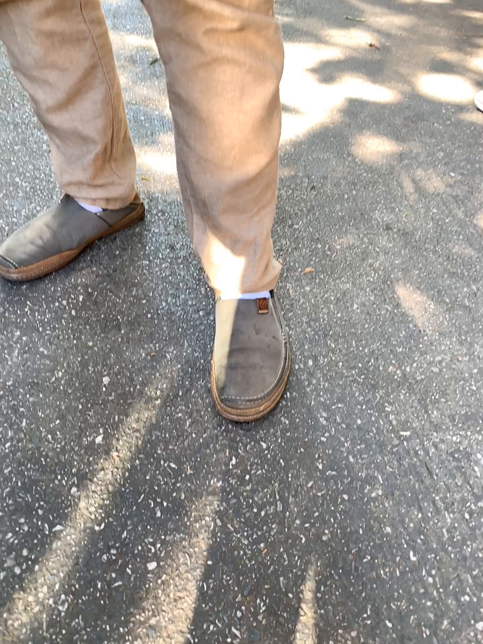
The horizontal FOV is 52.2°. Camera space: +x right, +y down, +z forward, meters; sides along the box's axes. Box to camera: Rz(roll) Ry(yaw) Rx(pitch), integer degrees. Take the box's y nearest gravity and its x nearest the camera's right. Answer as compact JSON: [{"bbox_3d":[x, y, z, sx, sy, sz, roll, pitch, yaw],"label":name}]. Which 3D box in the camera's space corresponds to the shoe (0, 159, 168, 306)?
[{"bbox_3d":[-0.281,-0.165,0.837,0.120,0.060,0.321,30,53,23],"label":"shoe"}]

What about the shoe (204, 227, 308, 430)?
[{"bbox_3d":[0.008,-0.008,0.718,0.120,0.080,0.322,-1,48,-4],"label":"shoe"}]
